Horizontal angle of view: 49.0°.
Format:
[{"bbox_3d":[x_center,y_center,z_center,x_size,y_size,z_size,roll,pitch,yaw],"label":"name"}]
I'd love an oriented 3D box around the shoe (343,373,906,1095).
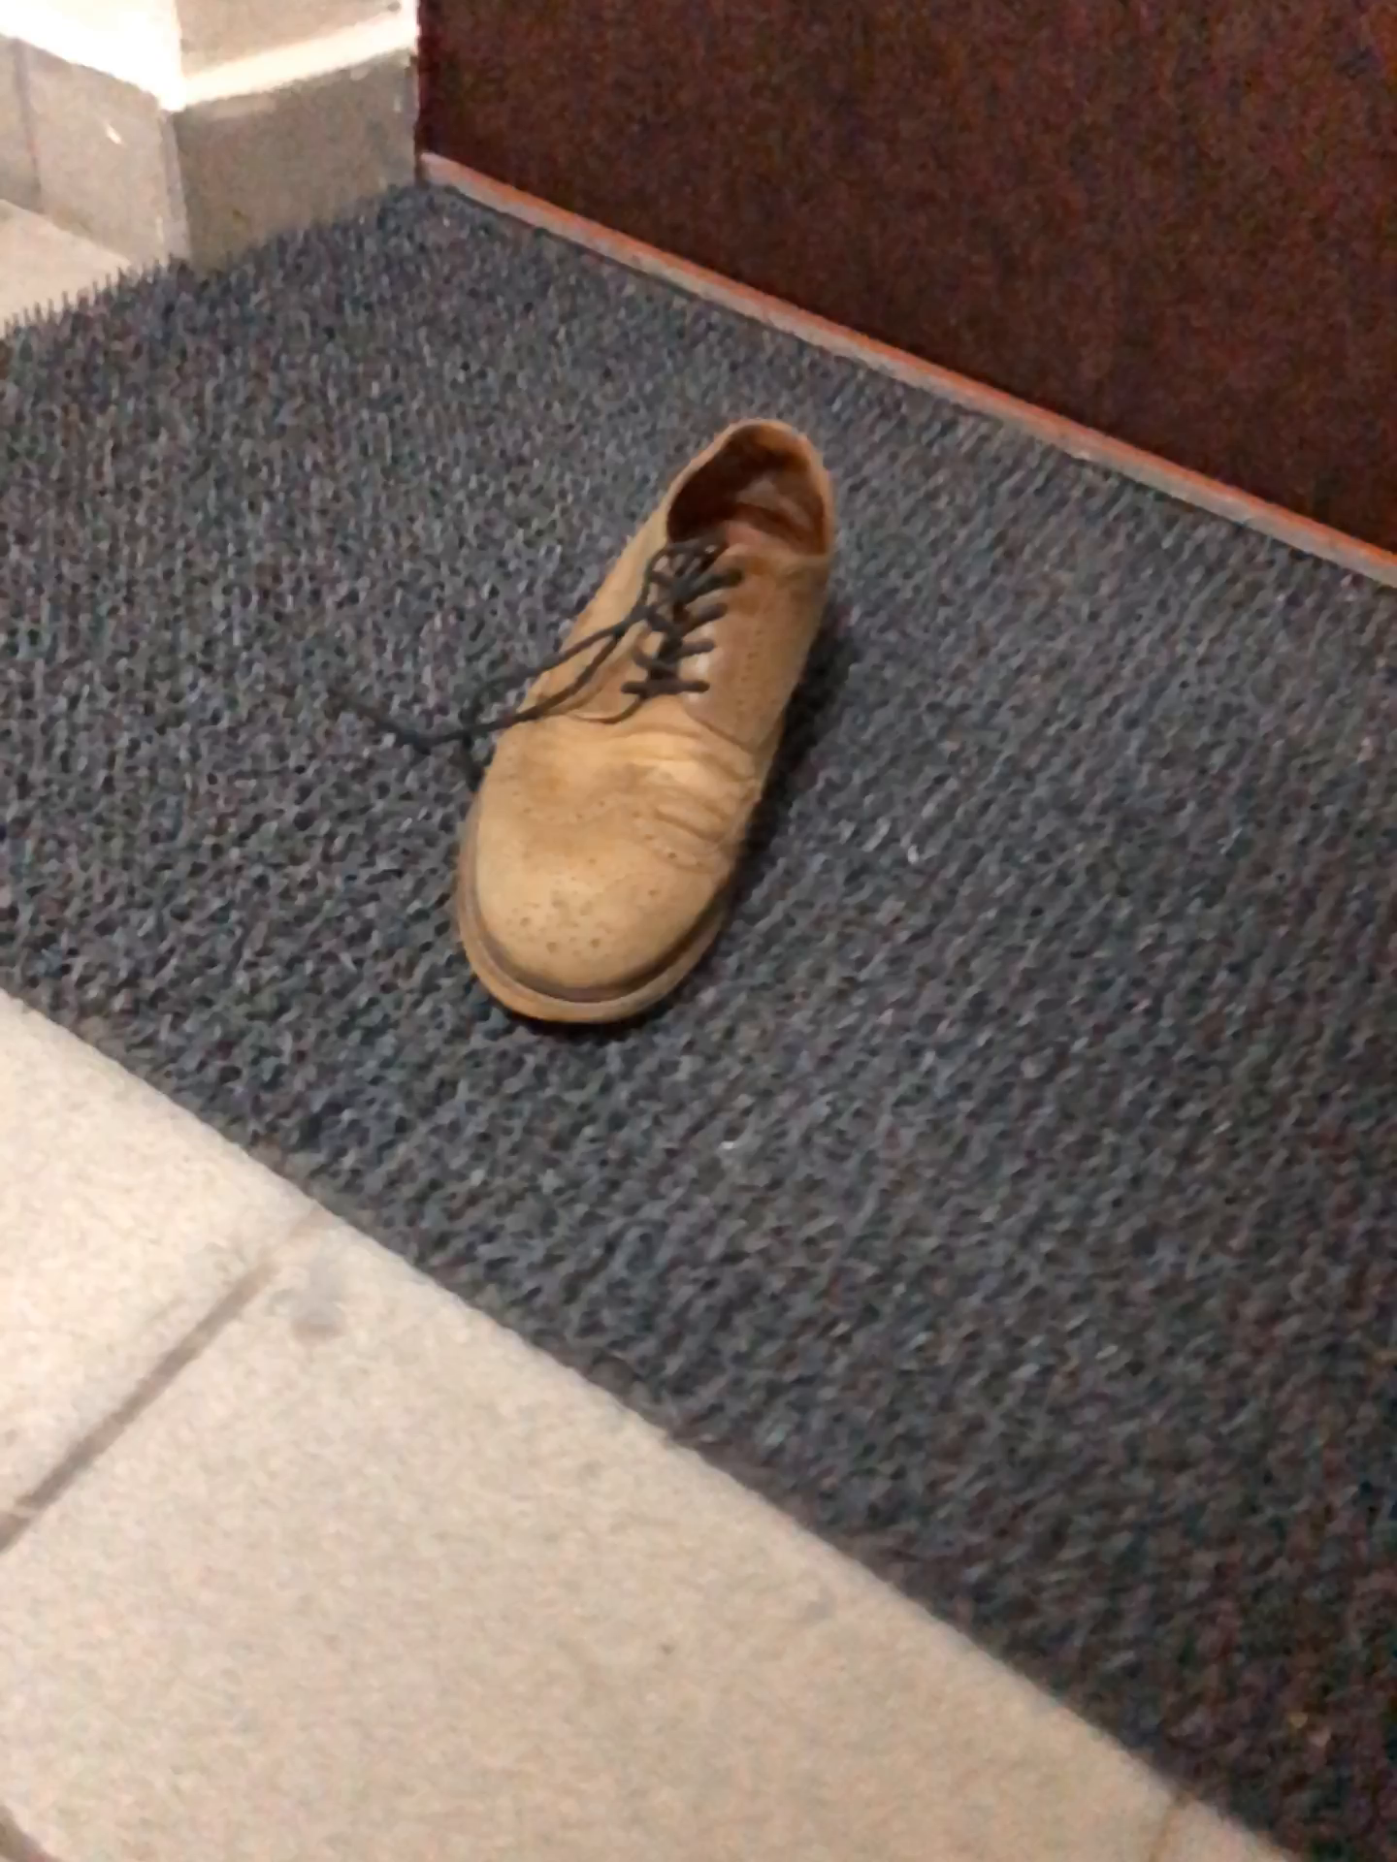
[{"bbox_3d":[-0.016,-0.095,0.601,0.110,0.099,0.302,19,47,7],"label":"shoe"}]
